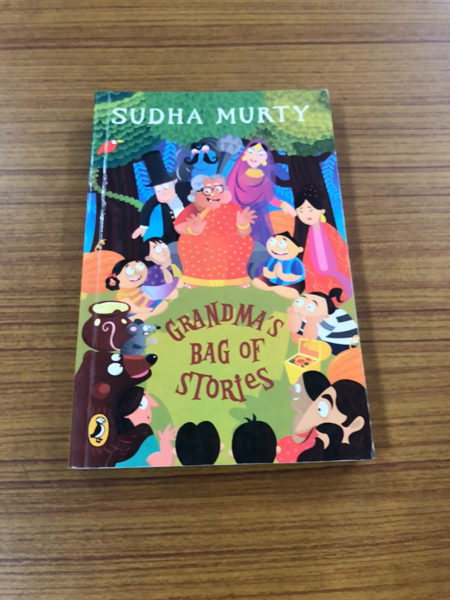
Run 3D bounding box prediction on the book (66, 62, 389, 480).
[{"bbox_3d":[-0.003,-0.024,0.254,0.130,0.030,0.210,-2,70,-1],"label":"book"}]
